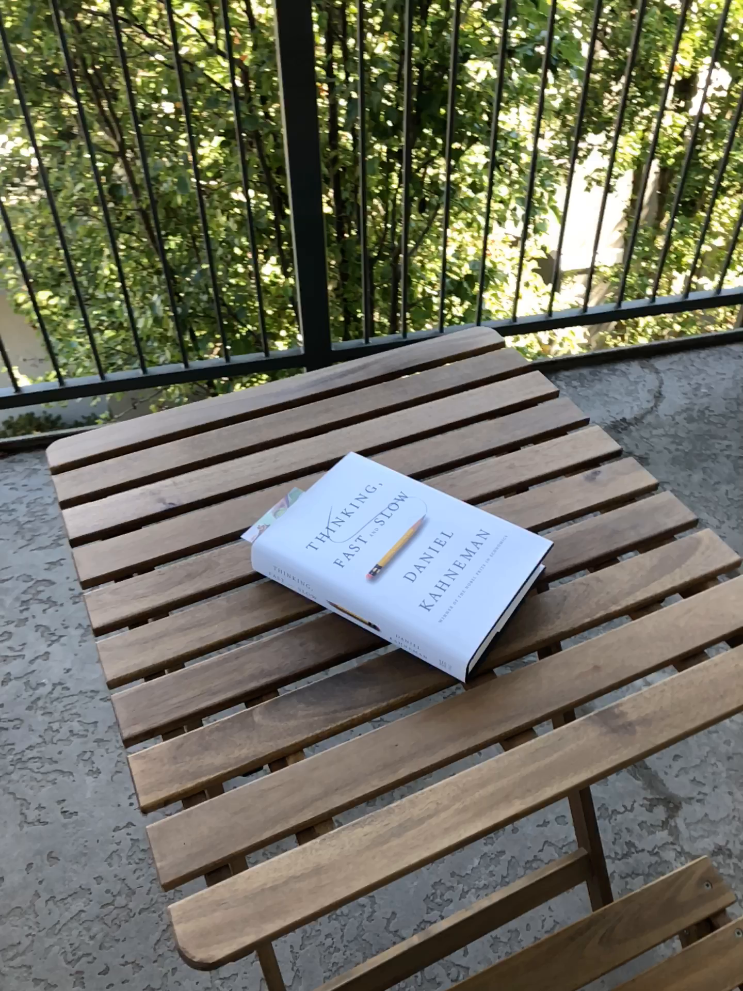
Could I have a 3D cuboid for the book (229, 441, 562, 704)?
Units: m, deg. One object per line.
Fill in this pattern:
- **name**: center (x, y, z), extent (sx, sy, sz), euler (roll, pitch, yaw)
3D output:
- **book**: center (0.023, 0.060, 0.798), extent (0.260, 0.050, 0.181), euler (25, 49, 24)
